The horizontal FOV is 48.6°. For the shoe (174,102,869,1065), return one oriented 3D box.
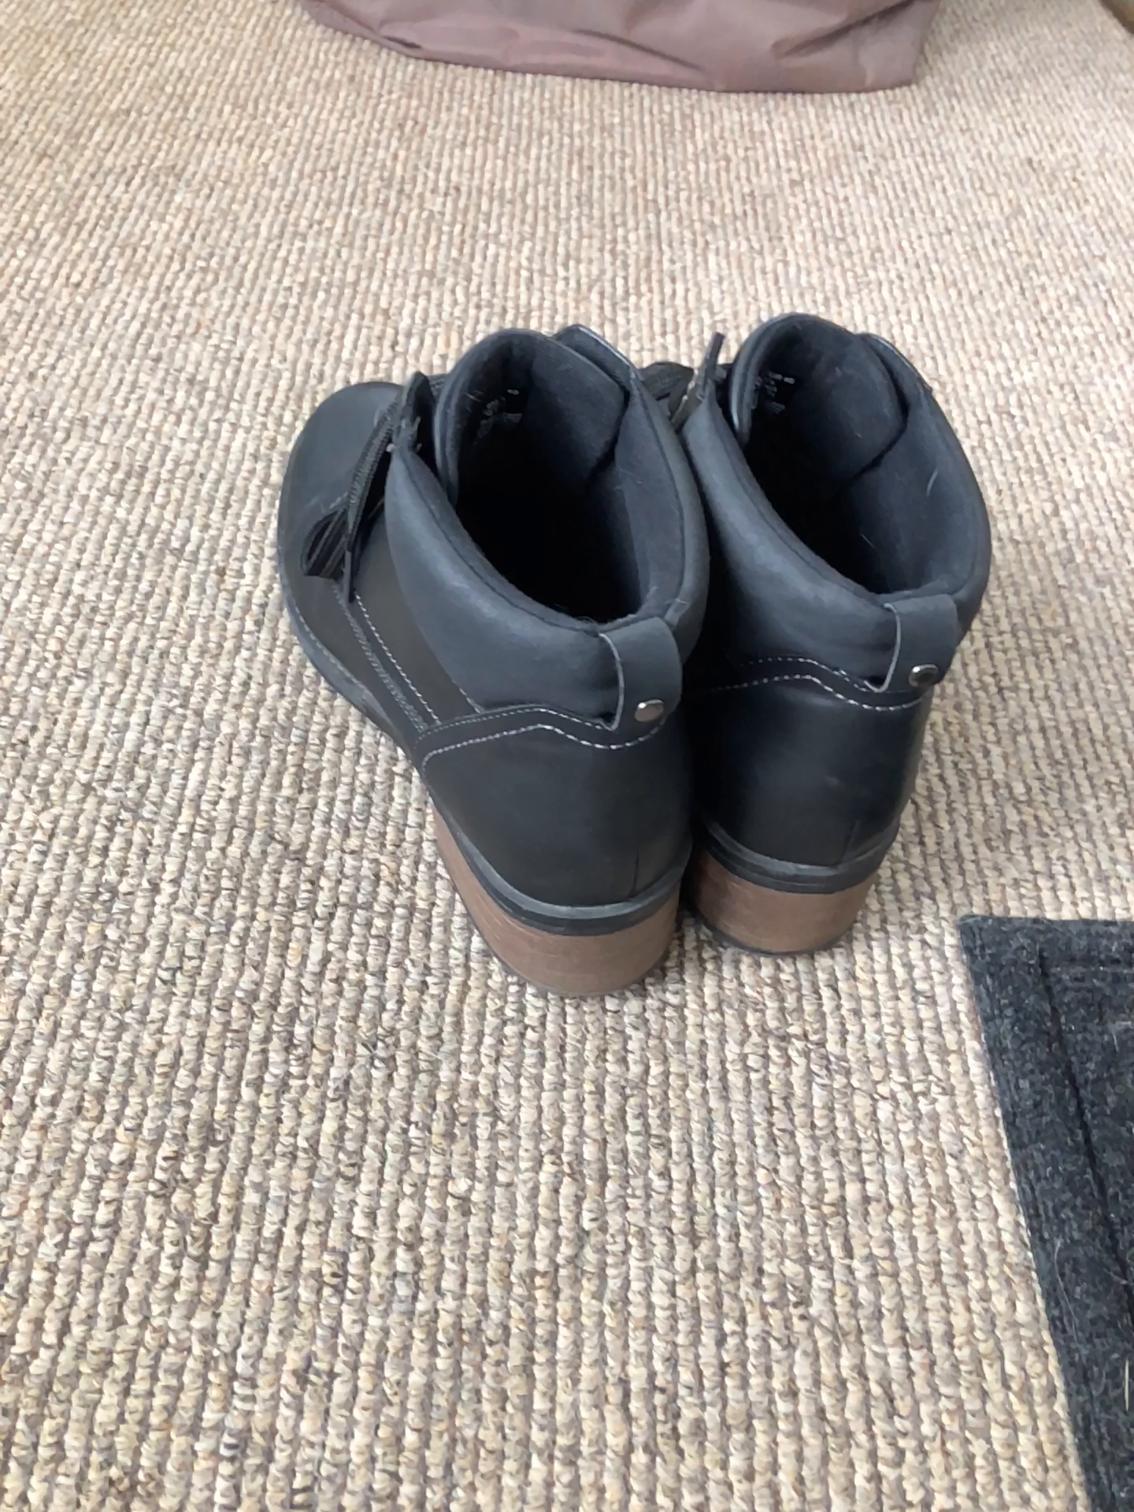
[{"bbox_3d":[-0.037,-0.067,0.414,0.097,0.165,0.268,-16,54,-20],"label":"shoe"}]

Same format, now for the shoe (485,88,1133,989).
[{"bbox_3d":[0.052,-0.087,0.437,0.095,0.162,0.274,-8,52,-14],"label":"shoe"}]
